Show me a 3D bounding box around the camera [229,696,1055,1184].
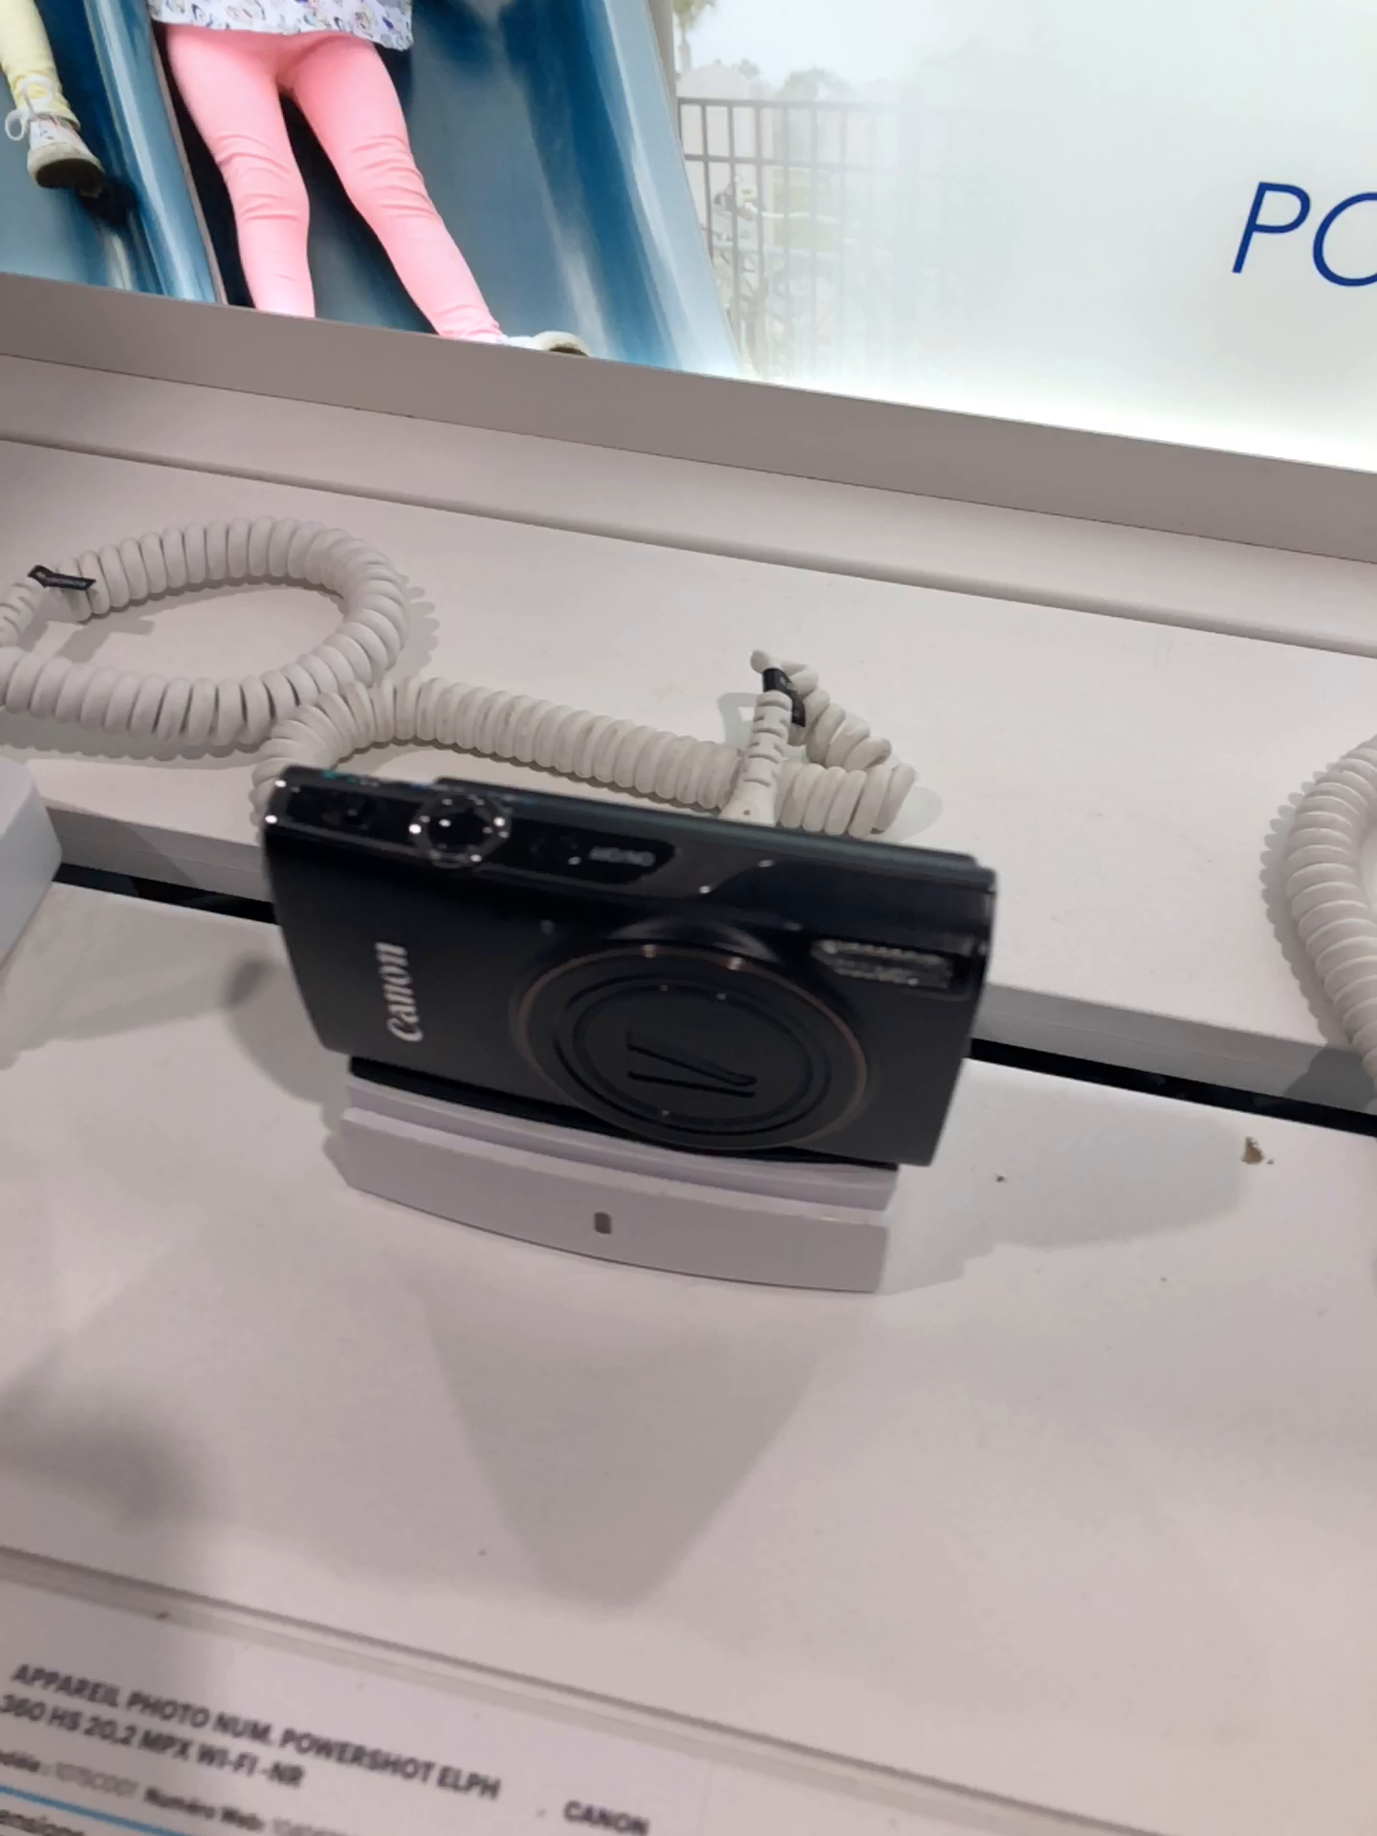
[{"bbox_3d":[-0.007,0.004,0.234,0.113,0.057,0.026,9,47,6],"label":"camera"}]
